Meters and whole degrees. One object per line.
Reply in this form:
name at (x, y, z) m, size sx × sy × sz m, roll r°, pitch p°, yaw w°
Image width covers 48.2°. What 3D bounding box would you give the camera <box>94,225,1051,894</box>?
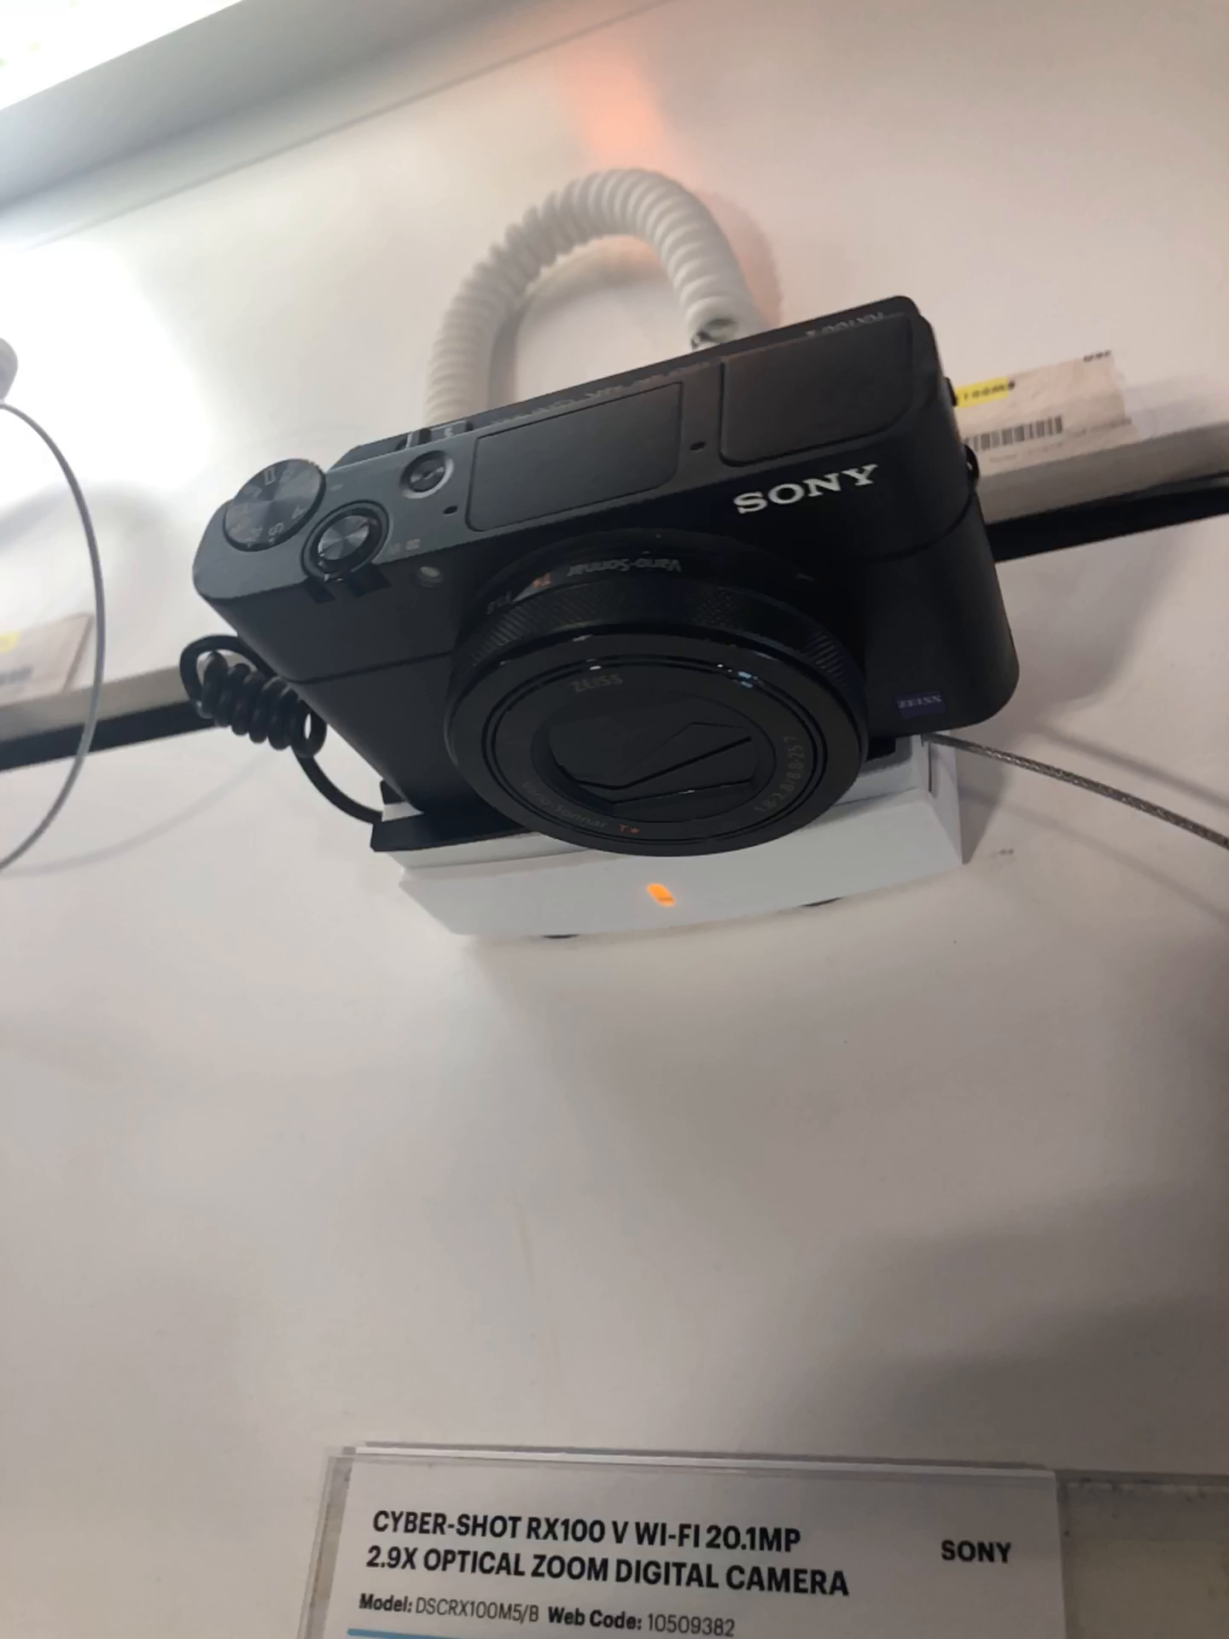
camera at (-0.002, -0.025, 0.177) m, size 0.101 × 0.063 × 0.032 m, roll -8°, pitch 56°, yaw 22°
